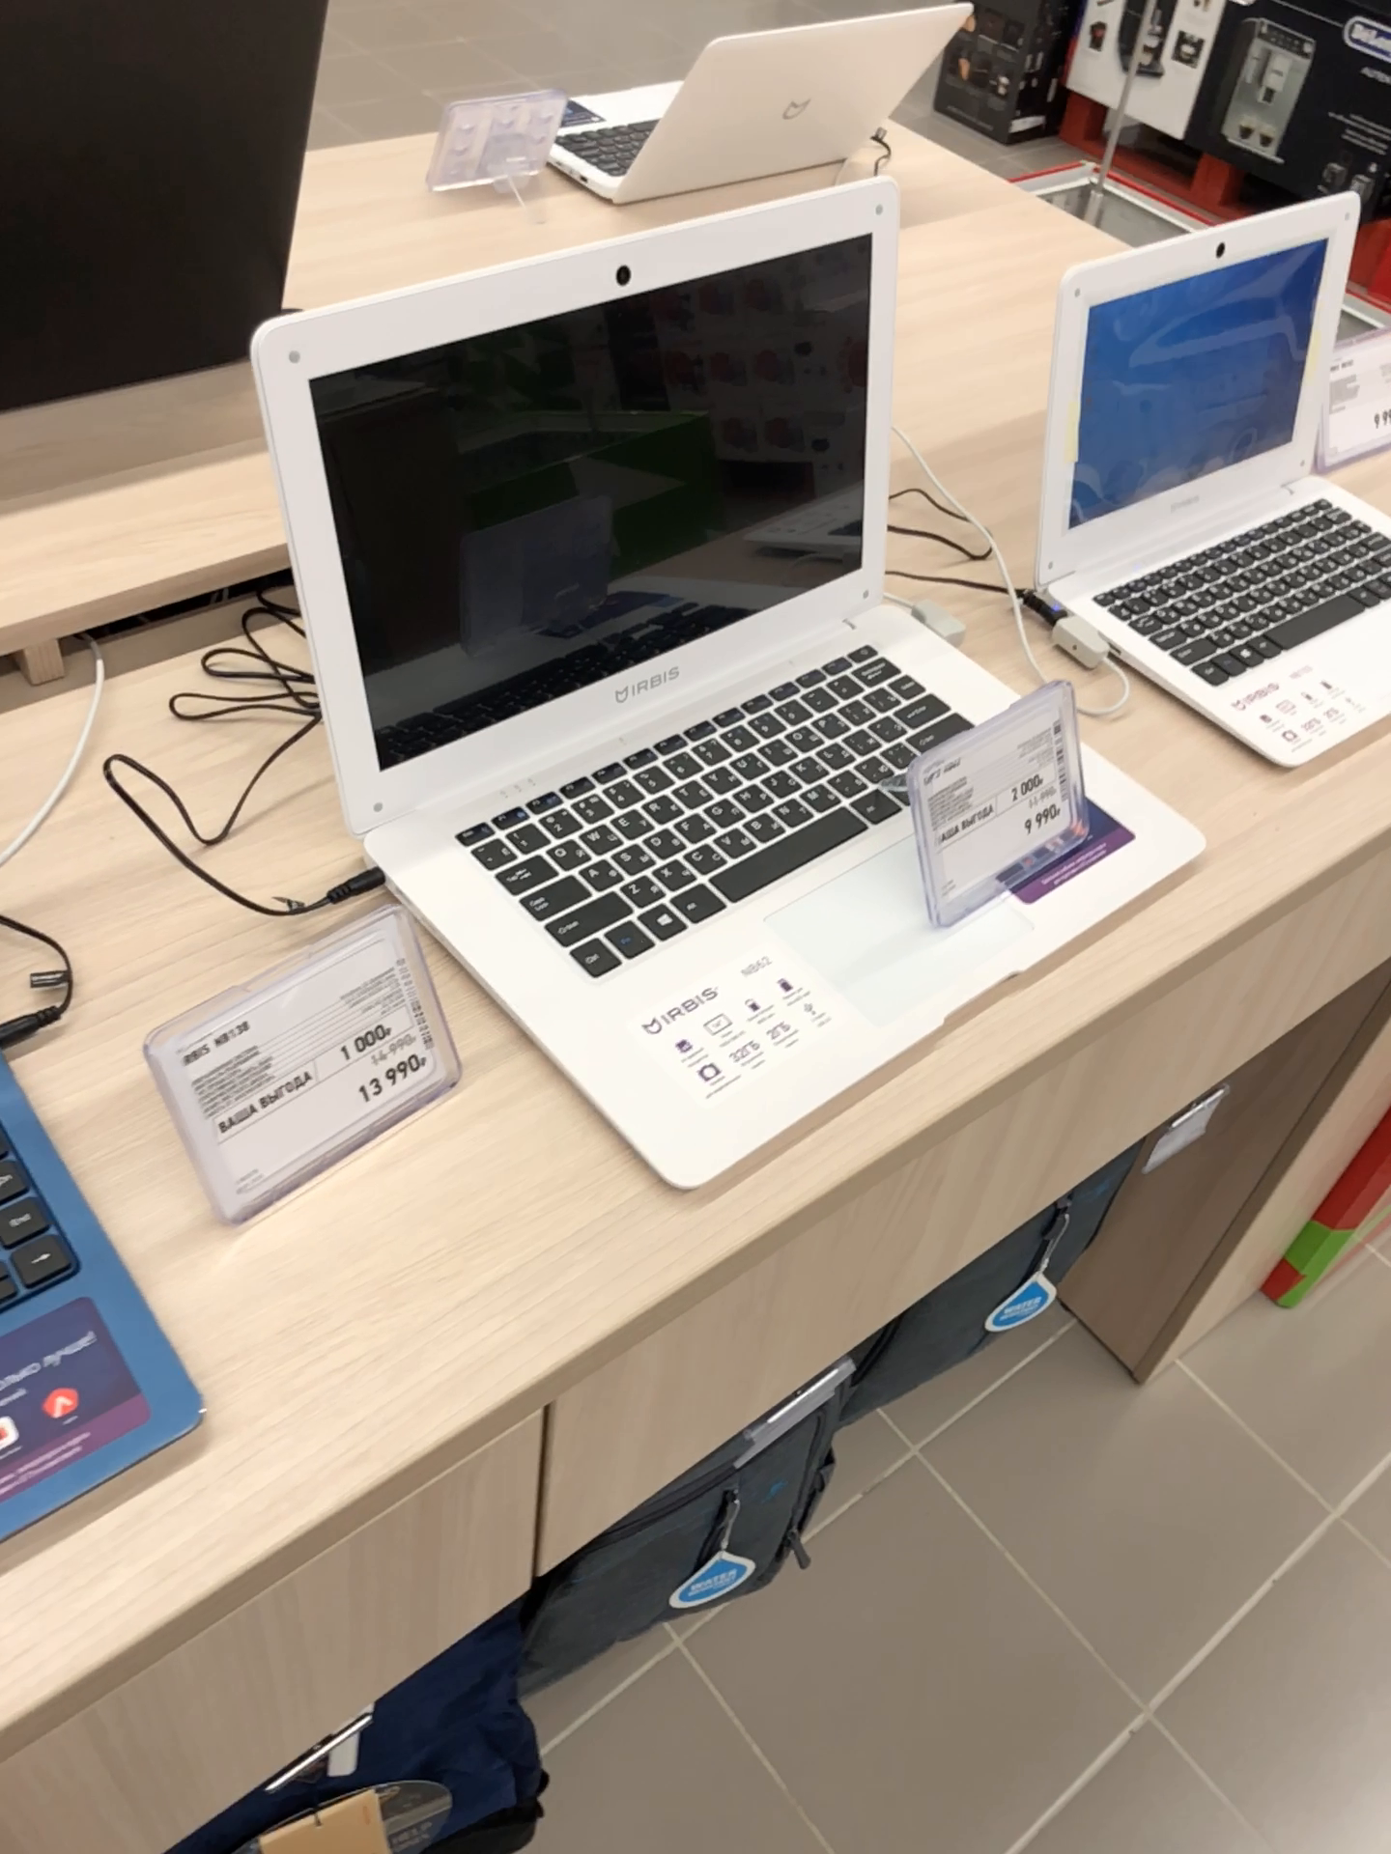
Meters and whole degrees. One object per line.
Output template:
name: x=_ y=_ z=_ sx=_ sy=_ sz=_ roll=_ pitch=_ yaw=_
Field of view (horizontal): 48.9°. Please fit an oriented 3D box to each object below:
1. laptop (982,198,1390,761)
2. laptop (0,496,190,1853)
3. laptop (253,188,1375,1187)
laptop: x=0.355 y=-0.263 z=0.864 sx=0.260 sy=0.167 sz=0.221 roll=-27 pitch=56 yaw=-29
laptop: x=-0.364 y=0.058 z=0.428 sx=0.299 sy=0.158 sz=0.311 roll=-26 pitch=56 yaw=-31
laptop: x=0.042 y=-0.128 z=0.652 sx=0.335 sy=0.207 sz=0.279 roll=-29 pitch=57 yaw=-32
